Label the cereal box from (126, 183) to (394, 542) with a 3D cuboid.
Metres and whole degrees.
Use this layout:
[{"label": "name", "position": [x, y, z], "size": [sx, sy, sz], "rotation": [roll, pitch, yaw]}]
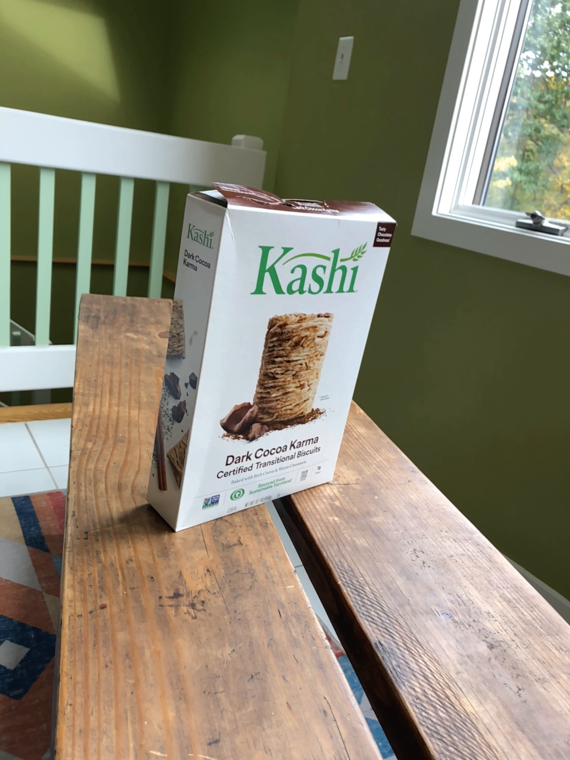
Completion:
[{"label": "cereal box", "position": [-0.023, -0.018, 0.557], "size": [0.201, 0.278, 0.060], "rotation": [-9, 29, -42]}]
